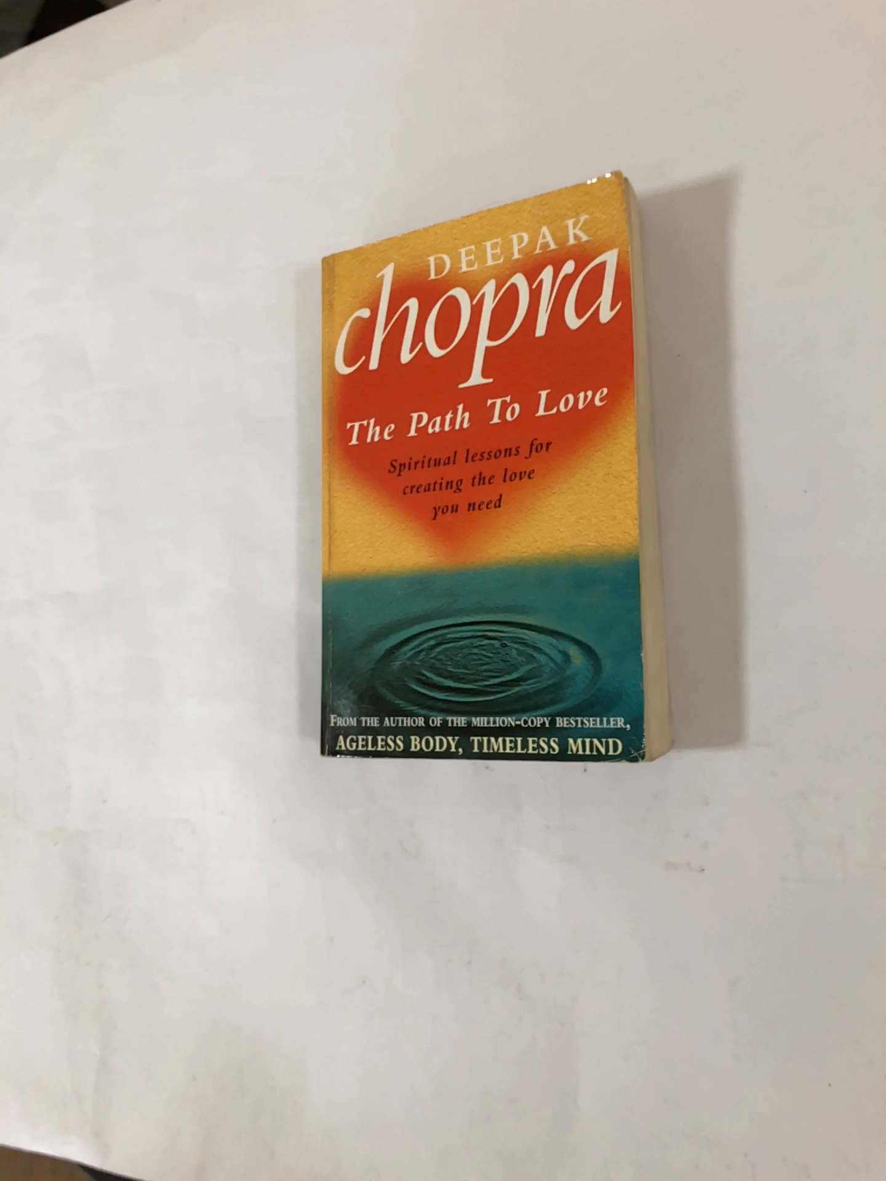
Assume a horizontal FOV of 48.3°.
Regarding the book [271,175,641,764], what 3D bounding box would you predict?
[{"bbox_3d":[0.002,-0.037,0.373,0.130,0.040,0.200,-4,81,27],"label":"book"}]
